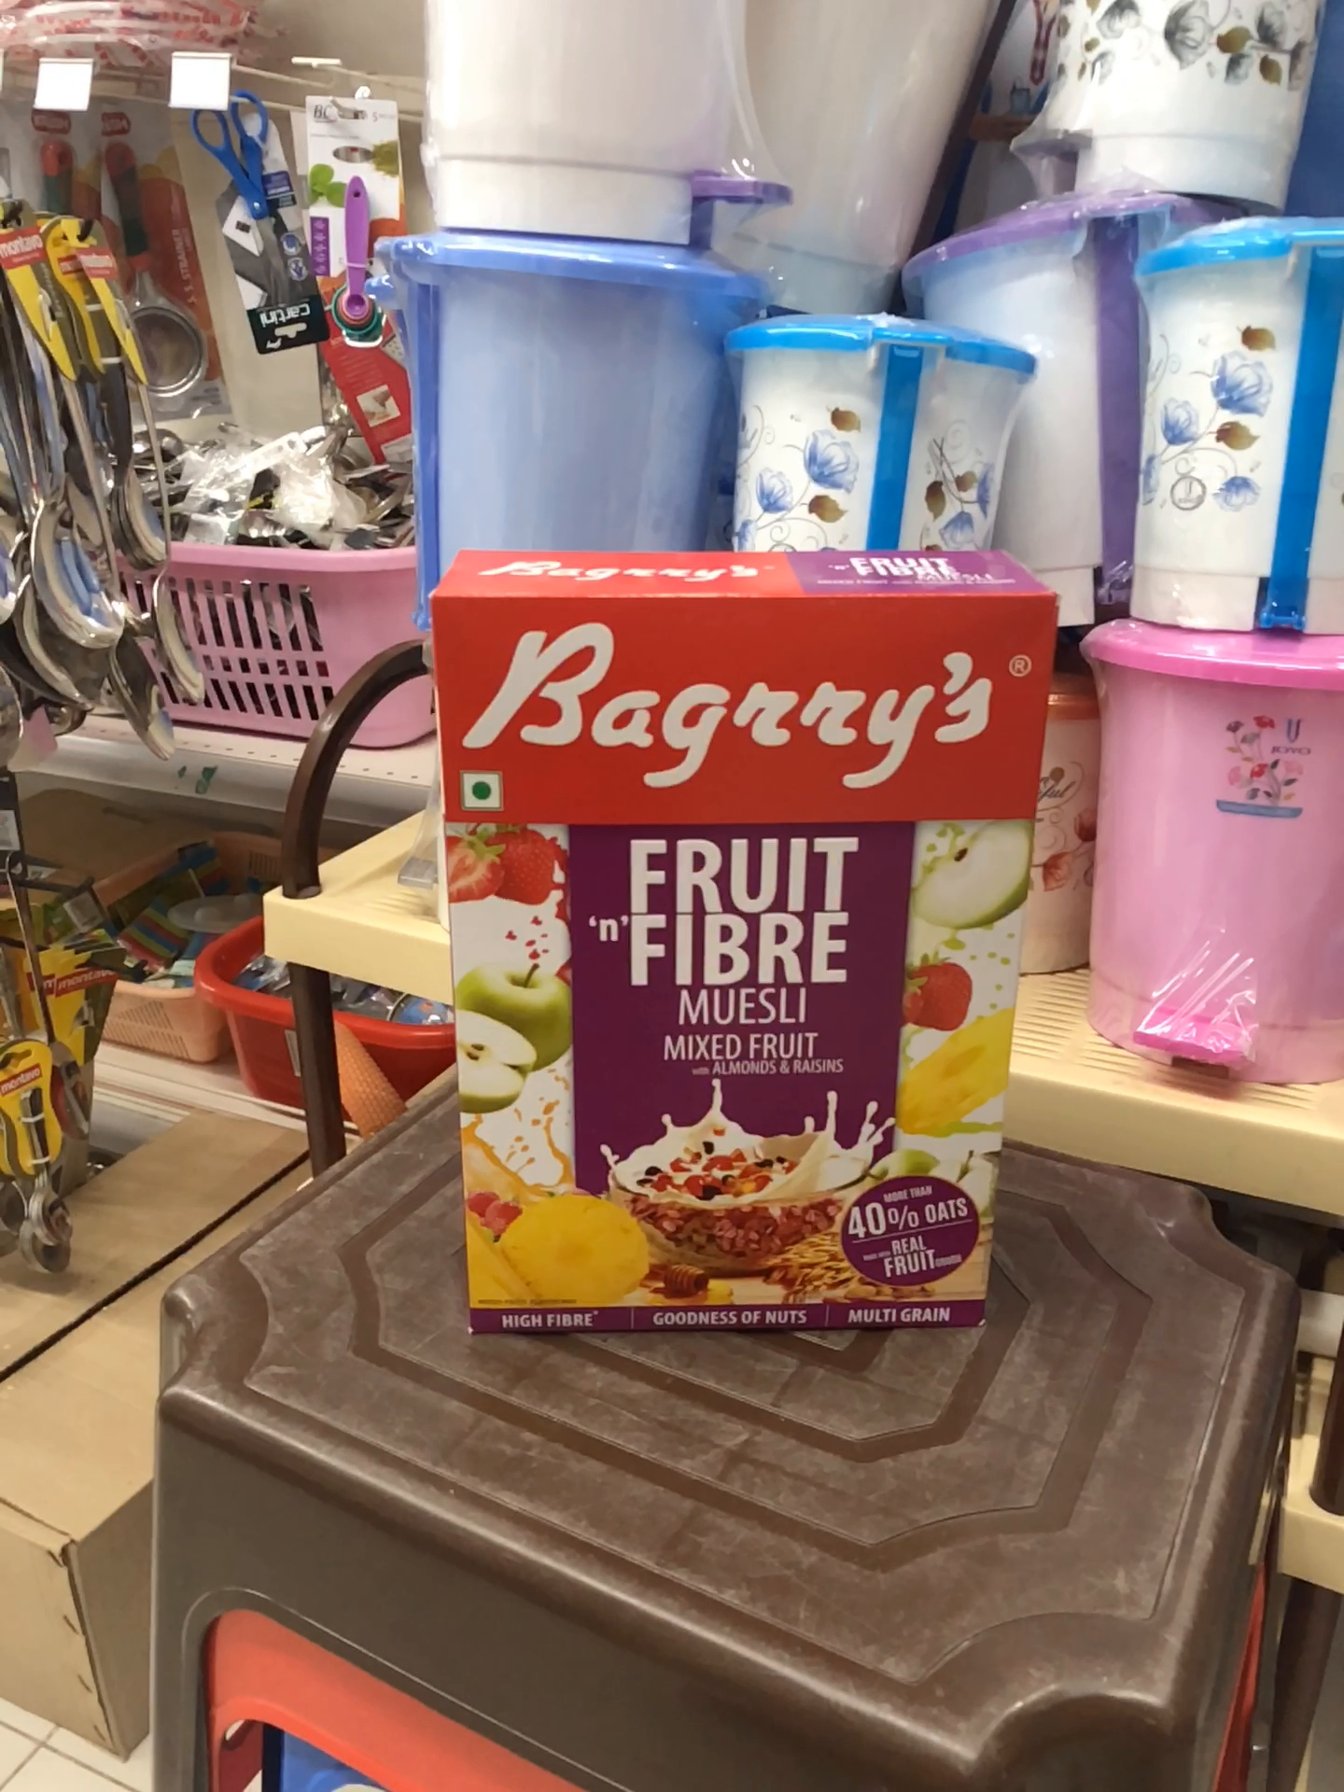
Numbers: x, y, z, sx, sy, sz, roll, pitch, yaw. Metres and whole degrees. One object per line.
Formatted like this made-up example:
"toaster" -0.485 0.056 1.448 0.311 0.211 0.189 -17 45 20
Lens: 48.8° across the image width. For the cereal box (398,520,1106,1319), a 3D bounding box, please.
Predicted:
"cereal box" 0.023 0.012 0.498 0.200 0.259 0.070 0 22 -1
